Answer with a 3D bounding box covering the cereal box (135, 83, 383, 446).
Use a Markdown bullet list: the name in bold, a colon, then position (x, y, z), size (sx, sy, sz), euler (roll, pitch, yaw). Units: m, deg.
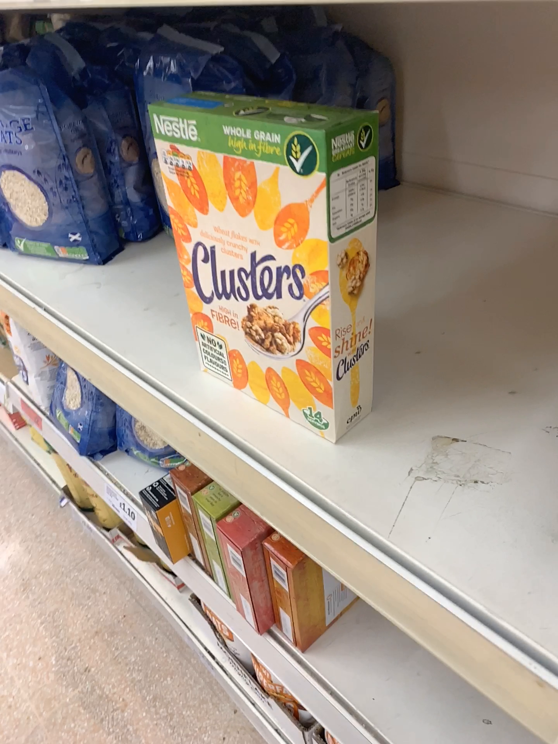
- **cereal box**: position (-0.014, -0.094, 0.500), size (0.201, 0.267, 0.060), euler (26, 46, 36)
